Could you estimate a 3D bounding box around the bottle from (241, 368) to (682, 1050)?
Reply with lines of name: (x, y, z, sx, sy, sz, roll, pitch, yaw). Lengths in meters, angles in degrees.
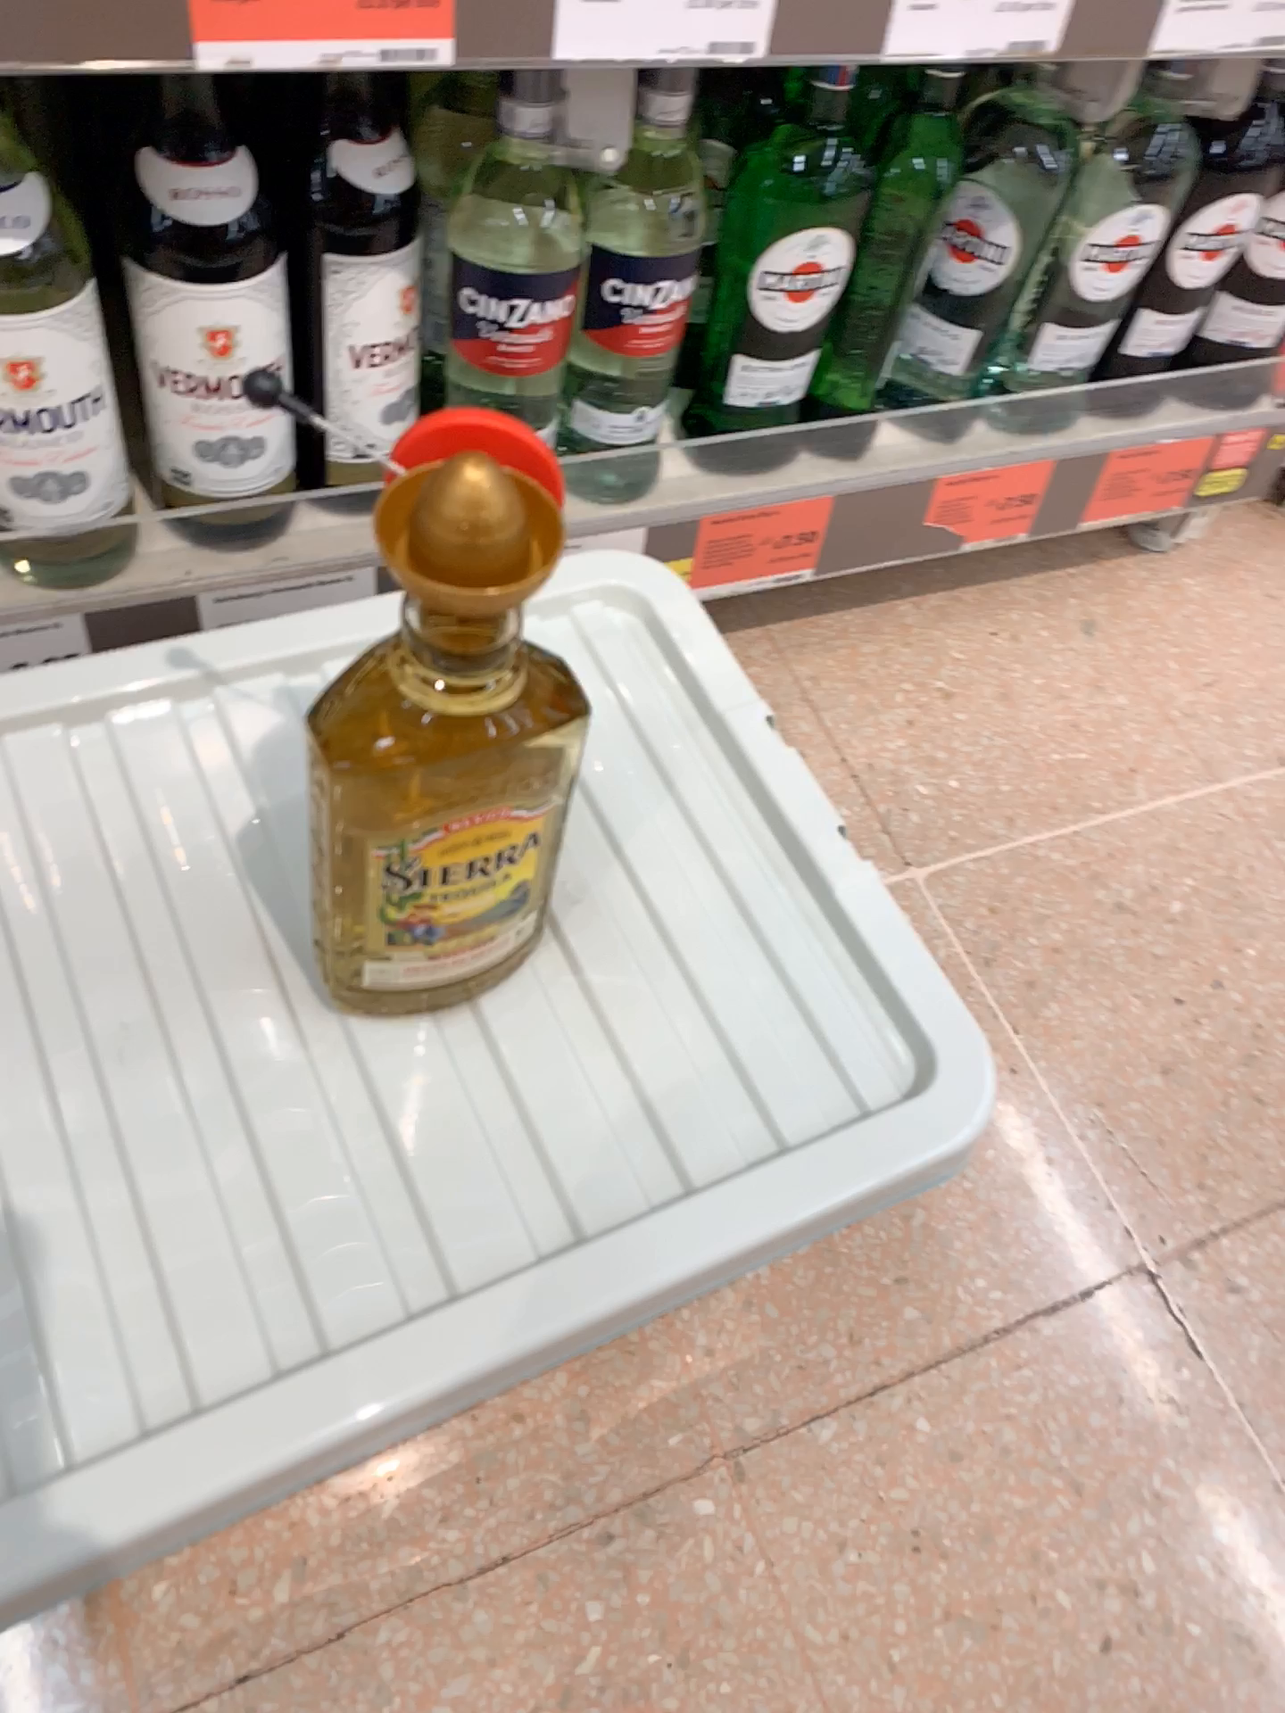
bottle: (-0.069, -0.031, 0.444, 0.100, 0.258, 0.058, -17, 61, -22)
